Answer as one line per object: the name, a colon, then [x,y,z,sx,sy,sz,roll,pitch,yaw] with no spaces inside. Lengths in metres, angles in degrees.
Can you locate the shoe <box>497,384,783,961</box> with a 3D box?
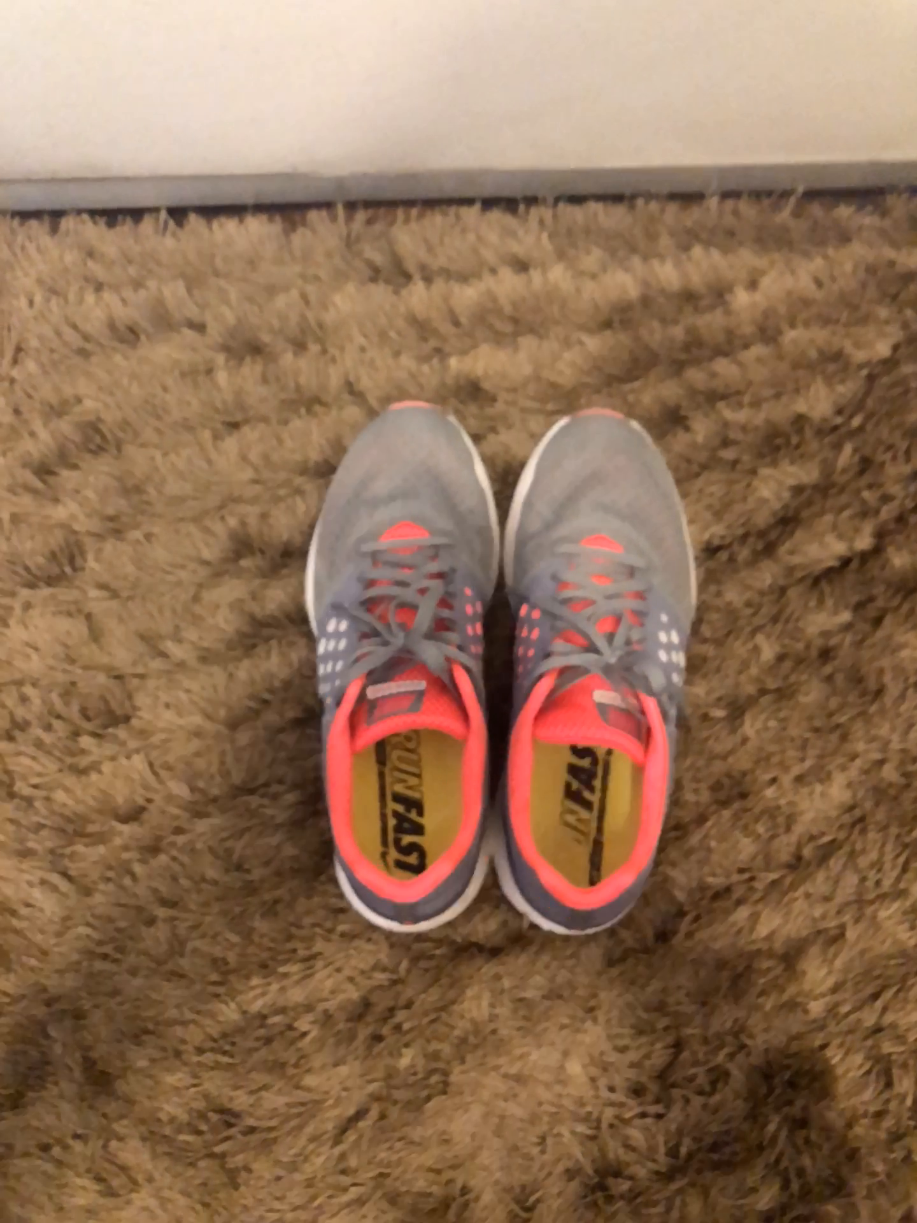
shoe: [0.084,0.034,0.533,0.118,0.119,0.270,1,76,-1]

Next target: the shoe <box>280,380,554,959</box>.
shoe: [-0.024,0.032,0.540,0.113,0.122,0.270,-4,76,-2]
